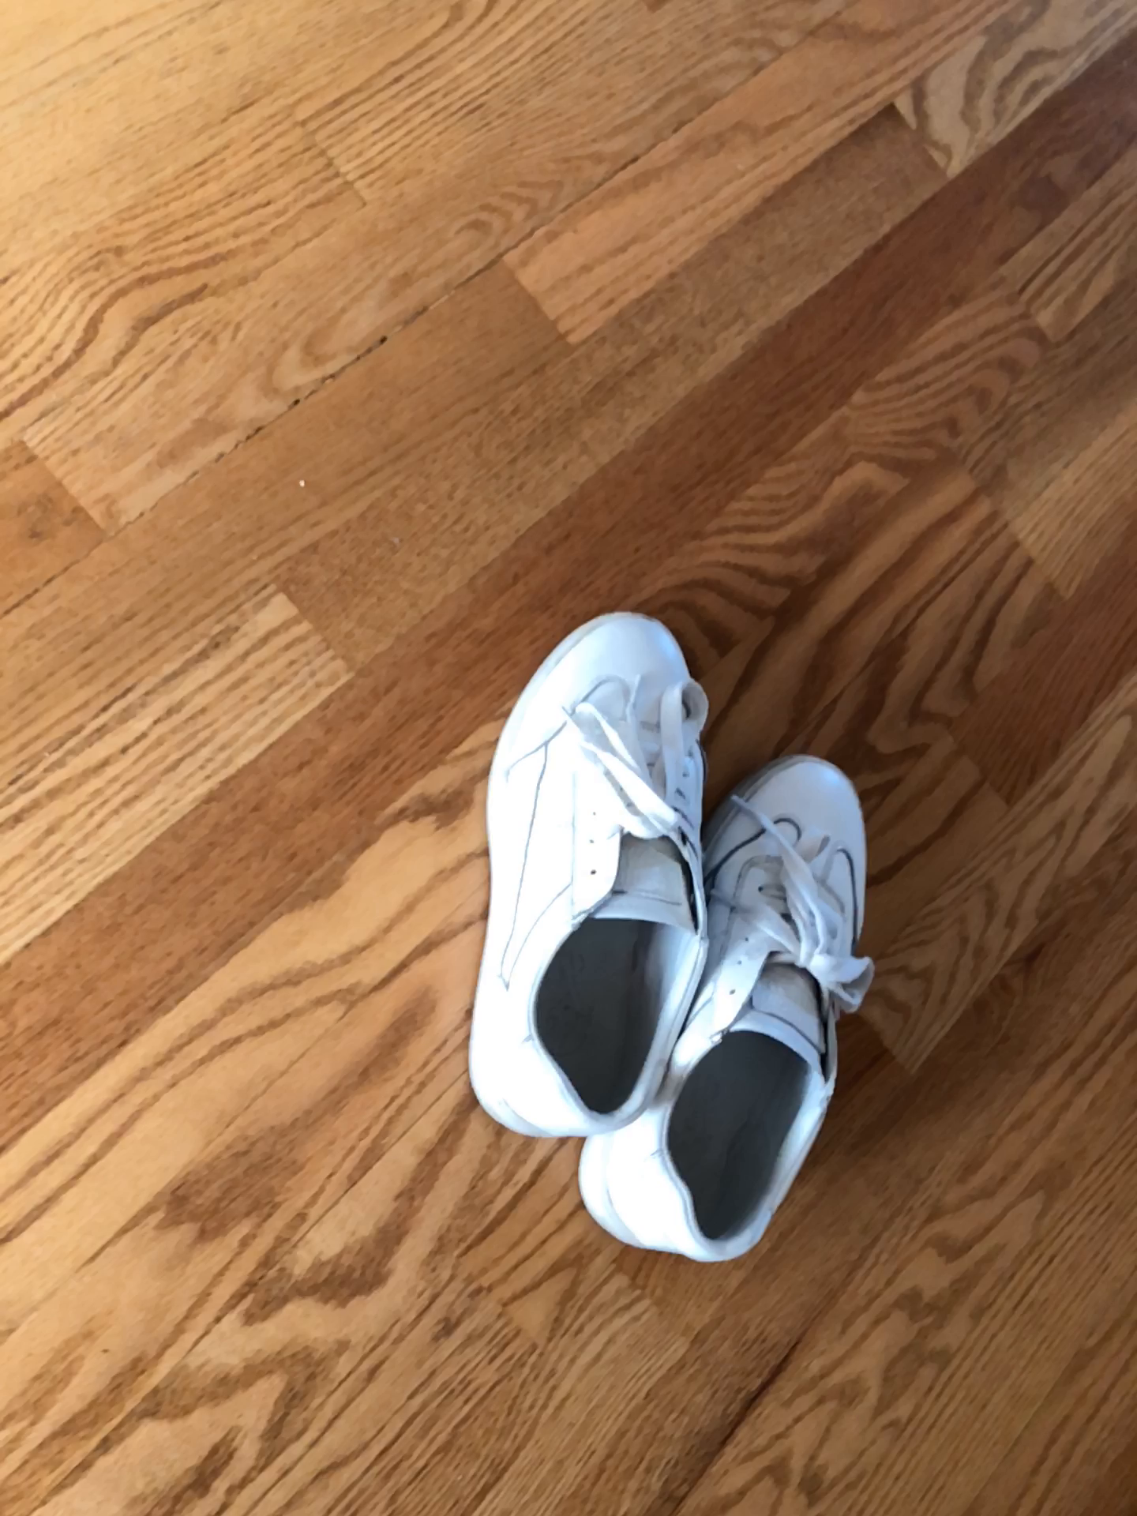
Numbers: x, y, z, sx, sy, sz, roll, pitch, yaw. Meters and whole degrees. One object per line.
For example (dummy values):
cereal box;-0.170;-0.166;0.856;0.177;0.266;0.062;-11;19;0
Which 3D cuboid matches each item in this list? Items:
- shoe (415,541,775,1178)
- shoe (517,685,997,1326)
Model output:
shoe;0.011;0.048;0.590;0.103;0.104;0.260;12;78;-17
shoe;0.091;0.111;0.607;0.102;0.107;0.260;30;74;-13
